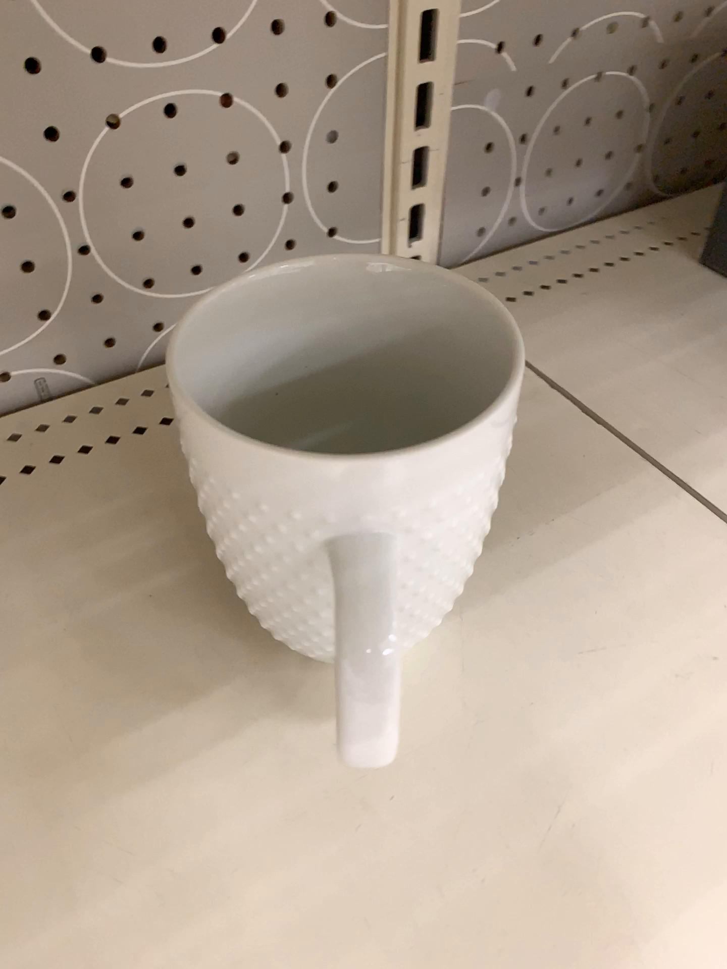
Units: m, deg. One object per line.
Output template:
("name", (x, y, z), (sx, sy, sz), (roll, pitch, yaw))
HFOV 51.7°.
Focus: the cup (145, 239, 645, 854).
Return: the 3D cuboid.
("cup", (-0.003, 0.012, 0.223), (0.093, 0.105, 0.138), (-5, 46, -6))
